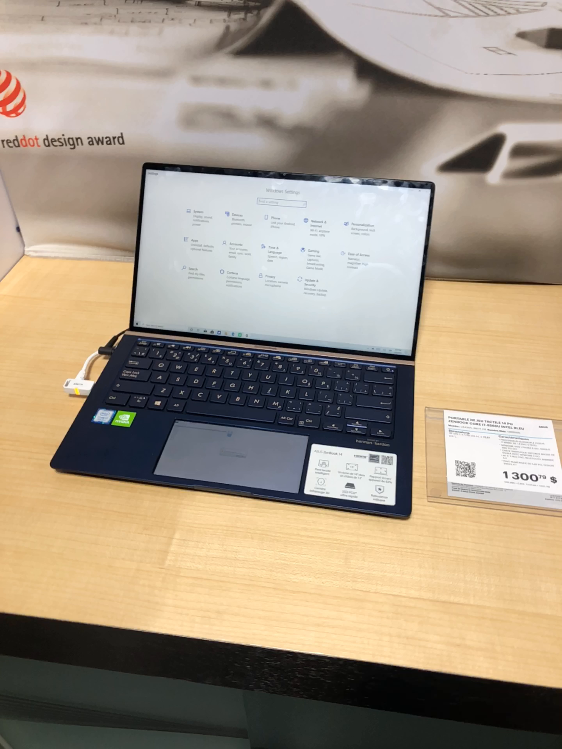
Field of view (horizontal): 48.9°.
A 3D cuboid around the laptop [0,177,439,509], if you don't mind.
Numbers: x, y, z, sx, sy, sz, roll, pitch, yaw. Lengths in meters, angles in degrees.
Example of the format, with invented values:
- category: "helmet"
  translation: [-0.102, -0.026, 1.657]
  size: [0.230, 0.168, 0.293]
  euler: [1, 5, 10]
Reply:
- category: "laptop"
  translation: [-0.022, -0.057, 0.634]
  size: [0.332, 0.159, 0.322]
  euler: [6, 40, 9]
